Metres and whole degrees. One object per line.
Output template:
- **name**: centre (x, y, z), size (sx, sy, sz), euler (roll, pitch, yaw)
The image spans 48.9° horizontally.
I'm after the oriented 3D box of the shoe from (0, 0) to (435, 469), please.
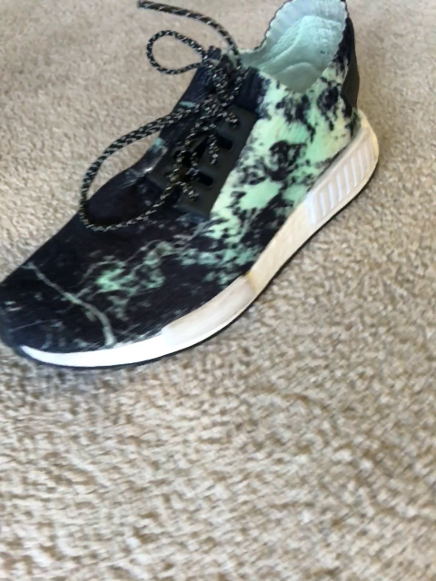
- **shoe**: centre (-0.008, -0.065, 0.273), size (0.288, 0.100, 0.131), euler (-38, 56, -21)
